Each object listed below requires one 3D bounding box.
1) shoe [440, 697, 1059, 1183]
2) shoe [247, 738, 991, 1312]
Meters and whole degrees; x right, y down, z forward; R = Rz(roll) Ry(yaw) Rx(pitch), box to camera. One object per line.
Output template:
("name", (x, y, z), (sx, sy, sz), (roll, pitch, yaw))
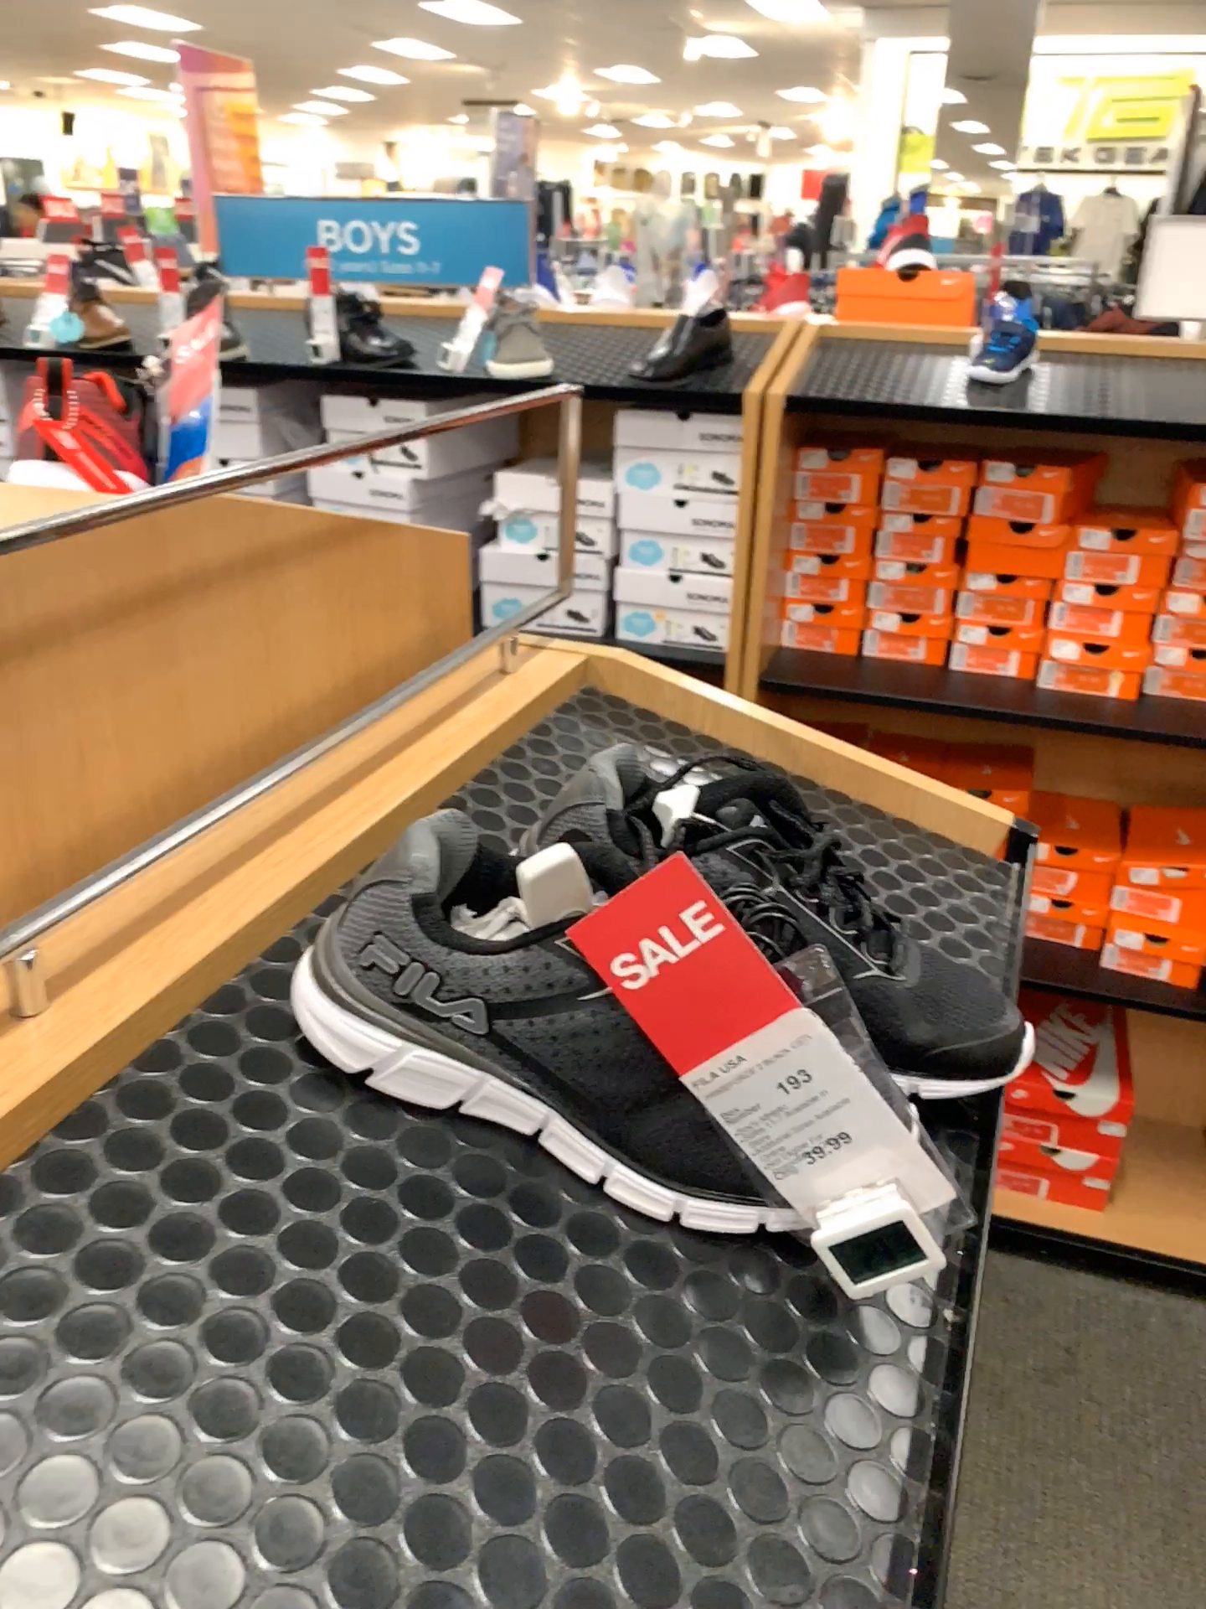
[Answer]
("shoe", (0.066, 0.057, 0.556), (0.244, 0.089, 0.101), (22, 37, 2))
("shoe", (0.008, 0.078, 0.471), (0.244, 0.090, 0.100), (23, 26, 0))
